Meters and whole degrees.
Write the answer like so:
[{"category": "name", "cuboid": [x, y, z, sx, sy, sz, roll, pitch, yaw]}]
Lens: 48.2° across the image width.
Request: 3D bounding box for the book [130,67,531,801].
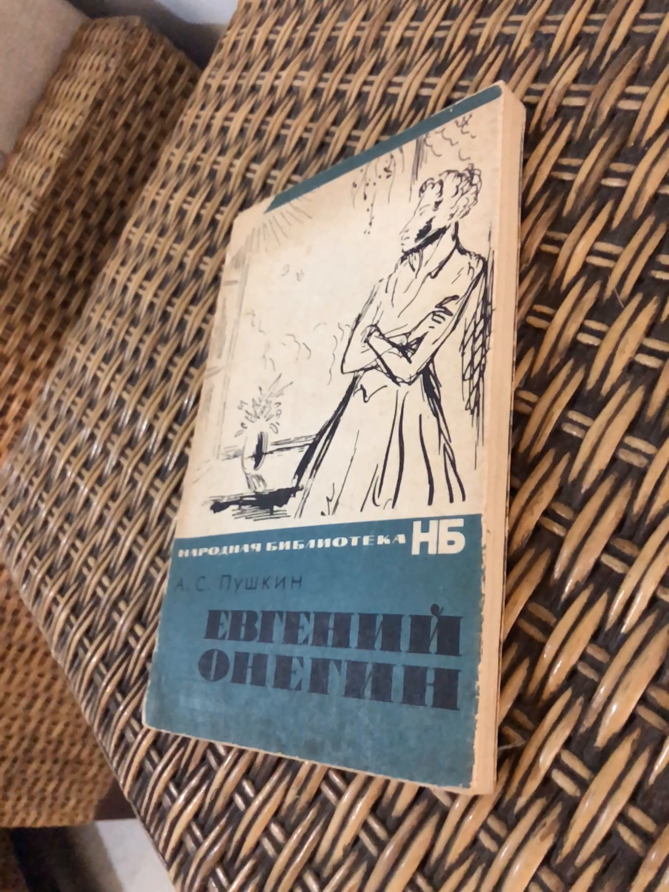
[{"category": "book", "cuboid": [-0.002, -0.007, 0.229, 0.121, 0.020, 0.190, -10, 66, 42]}]
